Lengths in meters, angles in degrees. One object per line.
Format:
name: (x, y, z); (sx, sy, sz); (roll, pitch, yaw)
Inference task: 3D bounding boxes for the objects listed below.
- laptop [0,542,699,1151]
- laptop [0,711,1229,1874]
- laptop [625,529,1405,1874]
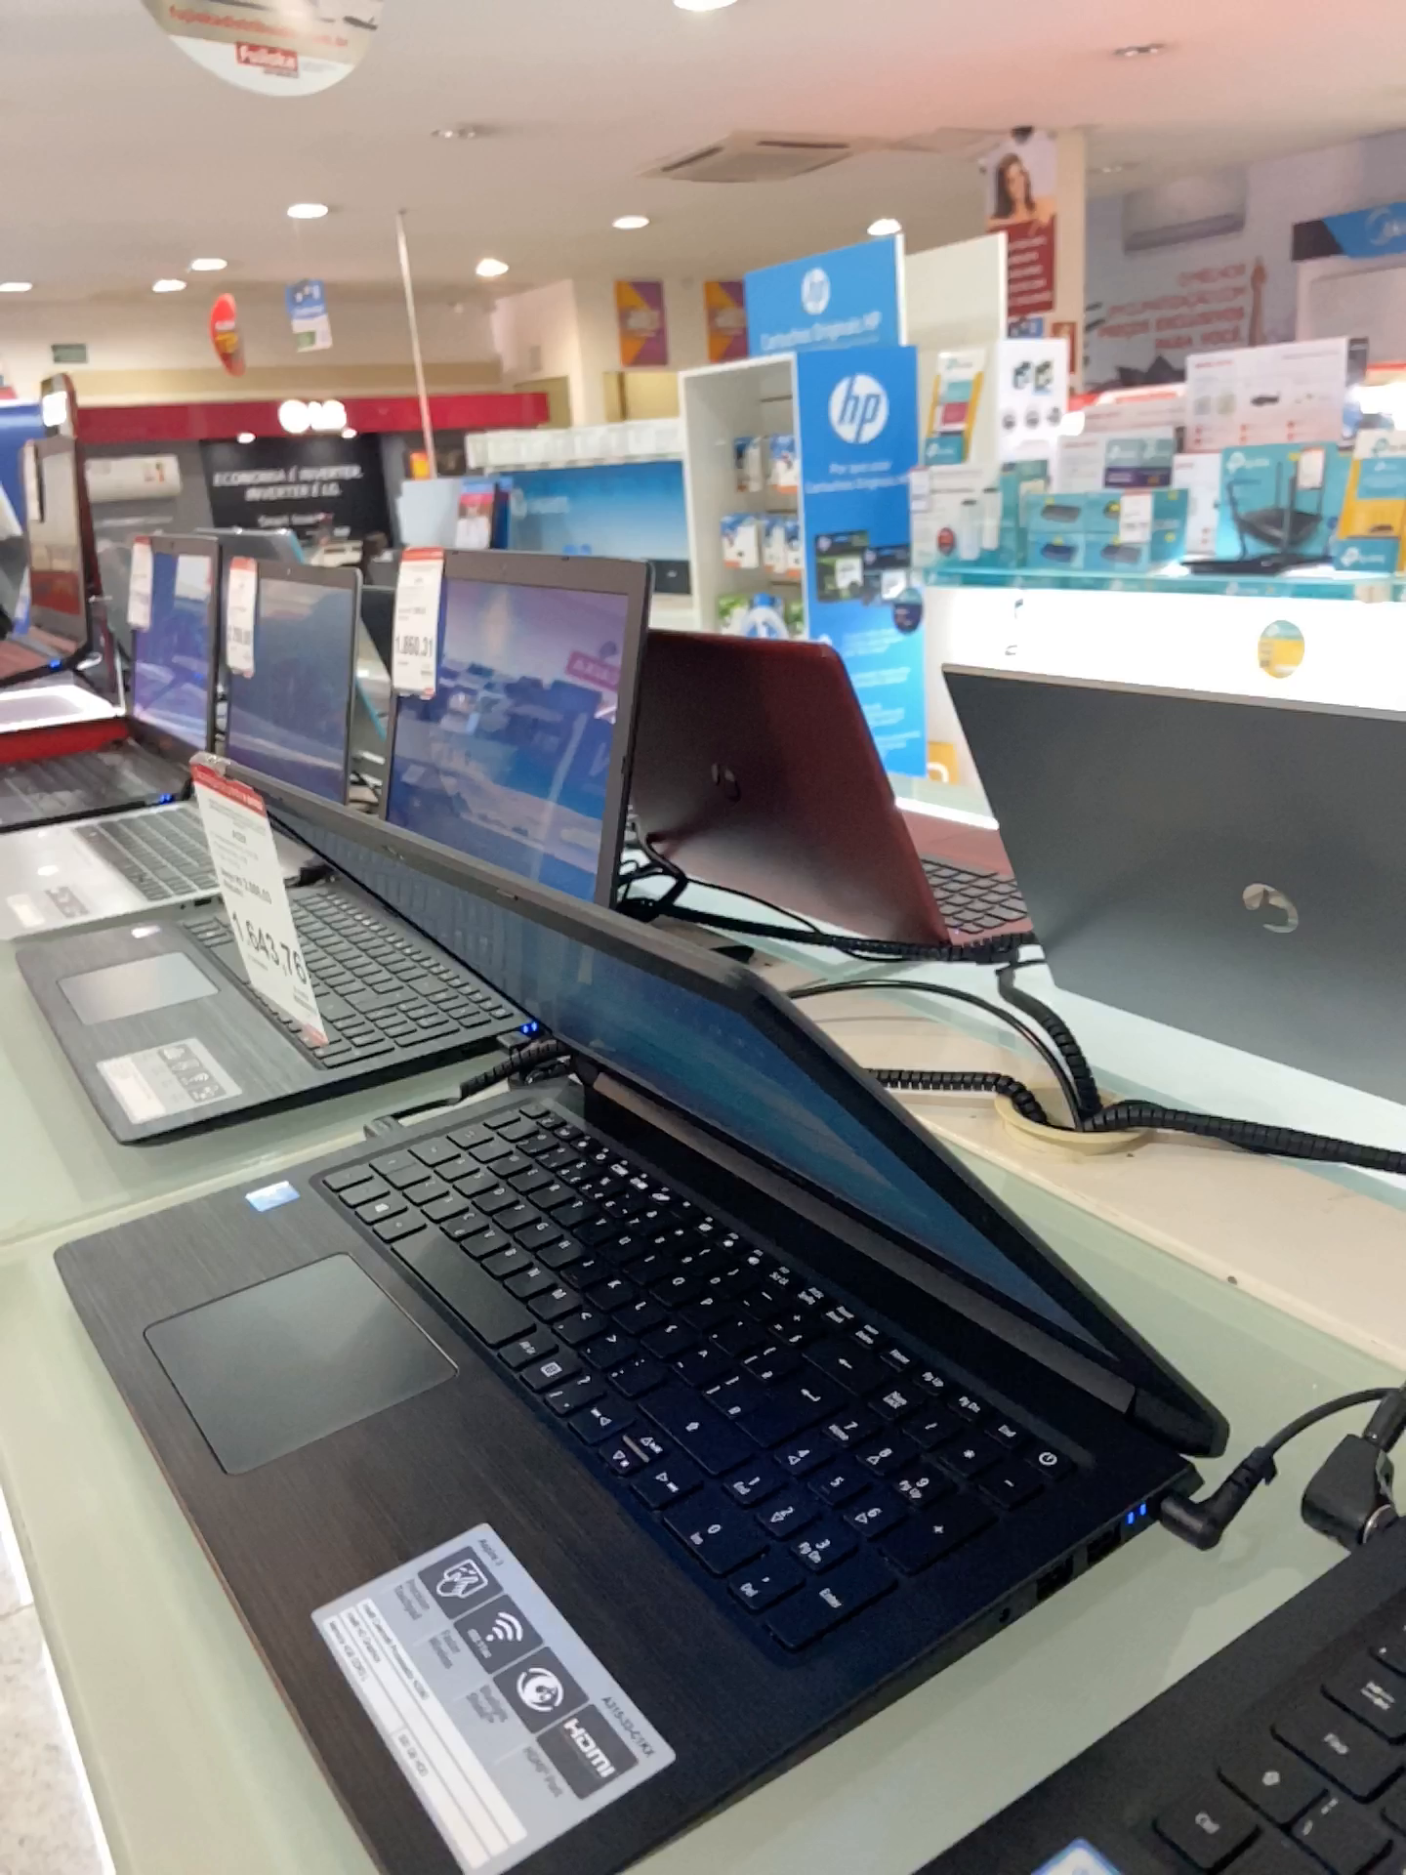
laptop: (-0.253, -0.100, 0.894); (0.326, 0.232, 0.401); (-16, 22, -28)
laptop: (-0.064, 0.052, 0.480); (0.239, 0.185, 0.380); (-16, 21, -31)
laptop: (0.219, 0.104, 0.149); (0.284, 0.247, 0.400); (-16, 22, -30)
